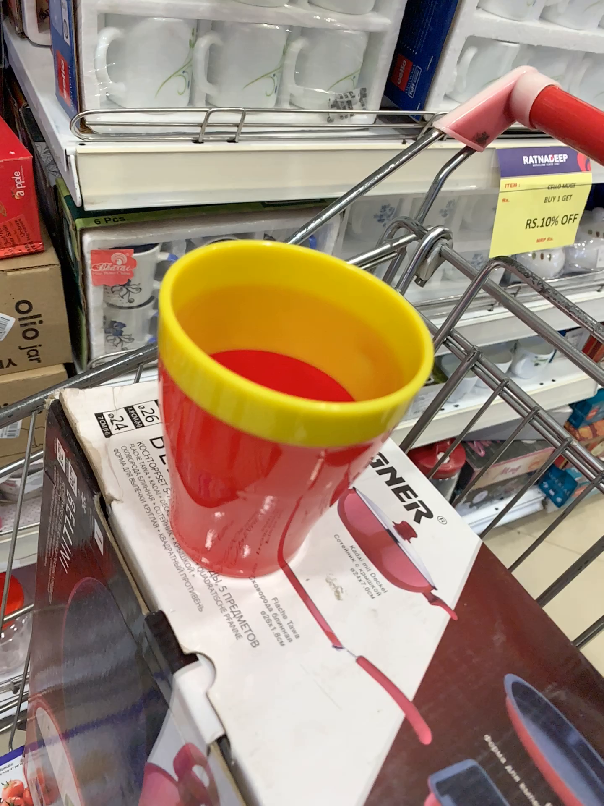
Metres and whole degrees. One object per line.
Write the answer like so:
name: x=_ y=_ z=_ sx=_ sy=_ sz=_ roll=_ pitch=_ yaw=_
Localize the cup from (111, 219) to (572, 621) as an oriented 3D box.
cup: x=0.006 y=-0.002 z=0.206 sx=0.110 sy=0.080 sz=0.080 roll=-13 pitch=50 yaw=-31
